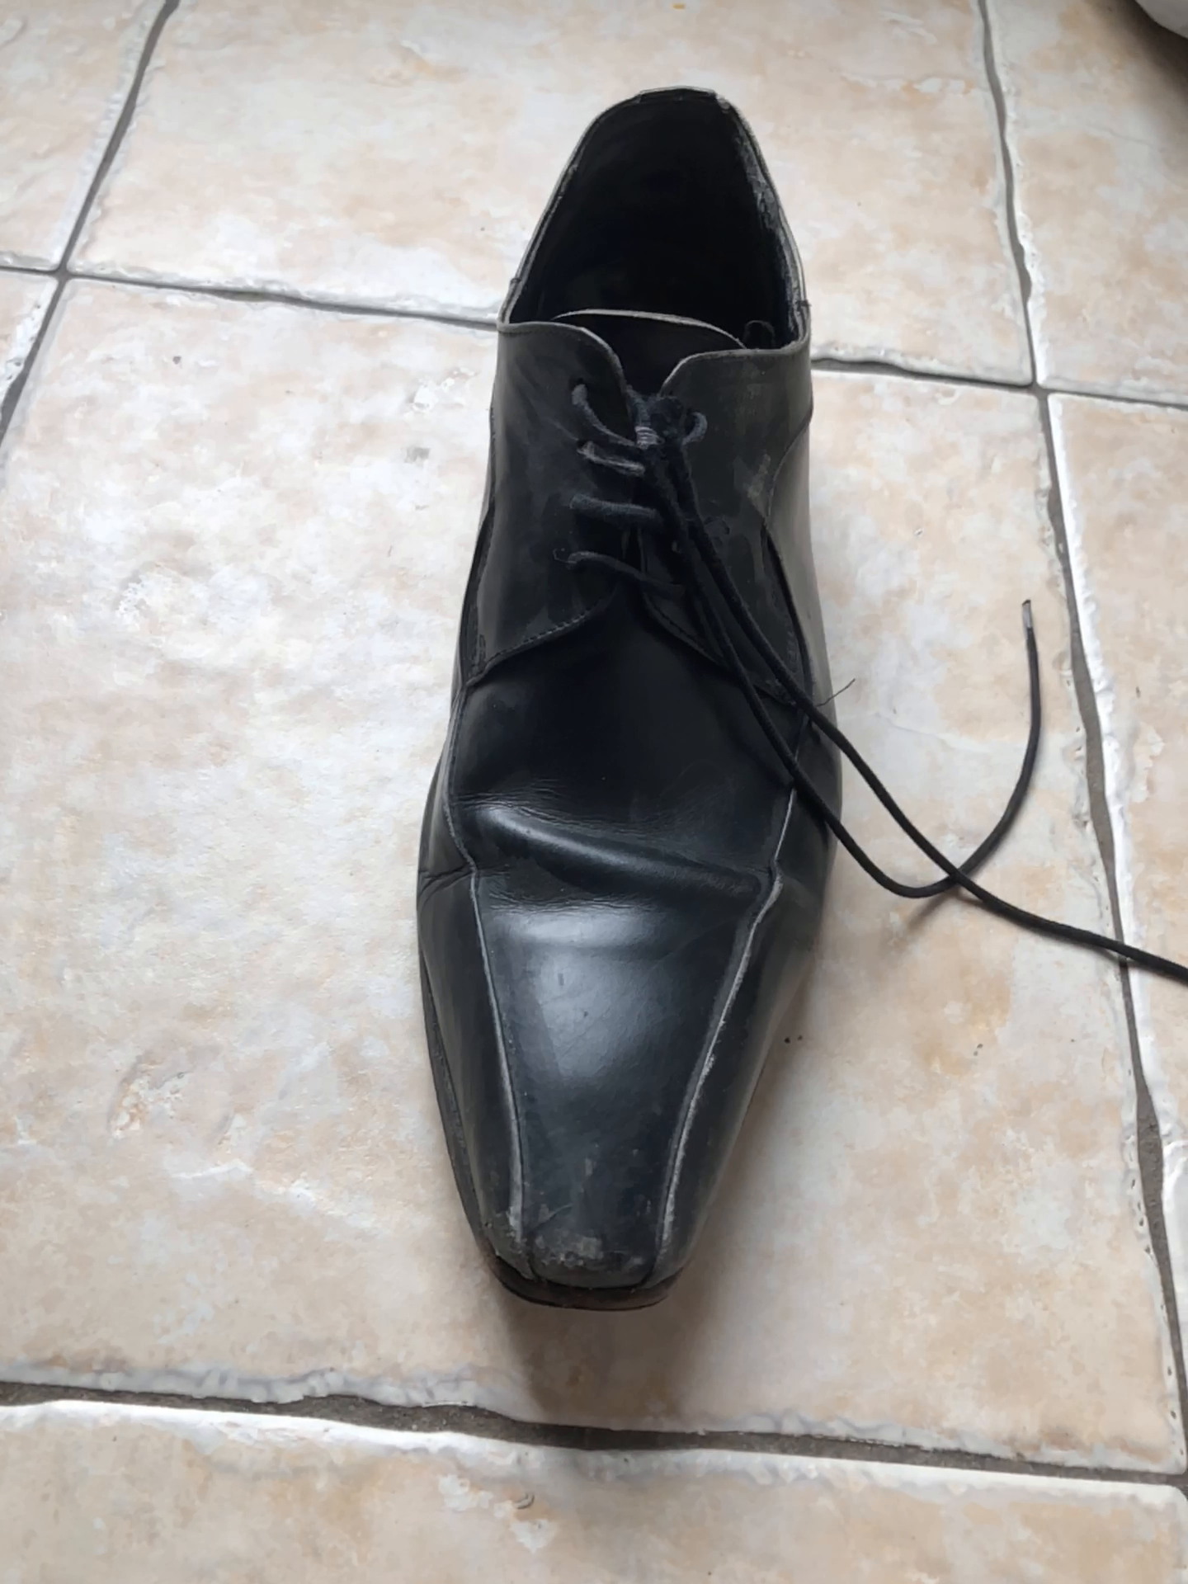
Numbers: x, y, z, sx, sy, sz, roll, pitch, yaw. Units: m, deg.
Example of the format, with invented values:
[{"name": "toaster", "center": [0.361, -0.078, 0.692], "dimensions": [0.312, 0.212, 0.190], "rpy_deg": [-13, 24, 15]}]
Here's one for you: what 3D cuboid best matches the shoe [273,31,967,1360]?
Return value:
[{"name": "shoe", "center": [0.018, -0.039, 0.299], "dimensions": [0.100, 0.090, 0.291], "rpy_deg": [8, 60, 0]}]
